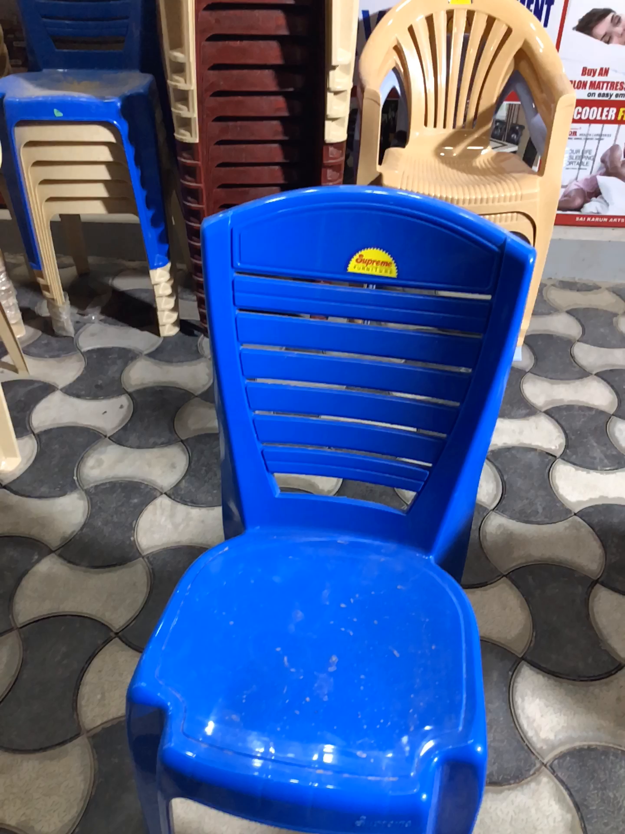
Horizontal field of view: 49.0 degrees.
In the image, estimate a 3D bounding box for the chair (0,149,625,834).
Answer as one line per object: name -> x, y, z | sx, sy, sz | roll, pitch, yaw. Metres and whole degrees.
chair -> -0.003, 0.172, 0.741 | 0.470, 0.726, 0.513 | 8, 36, 8
